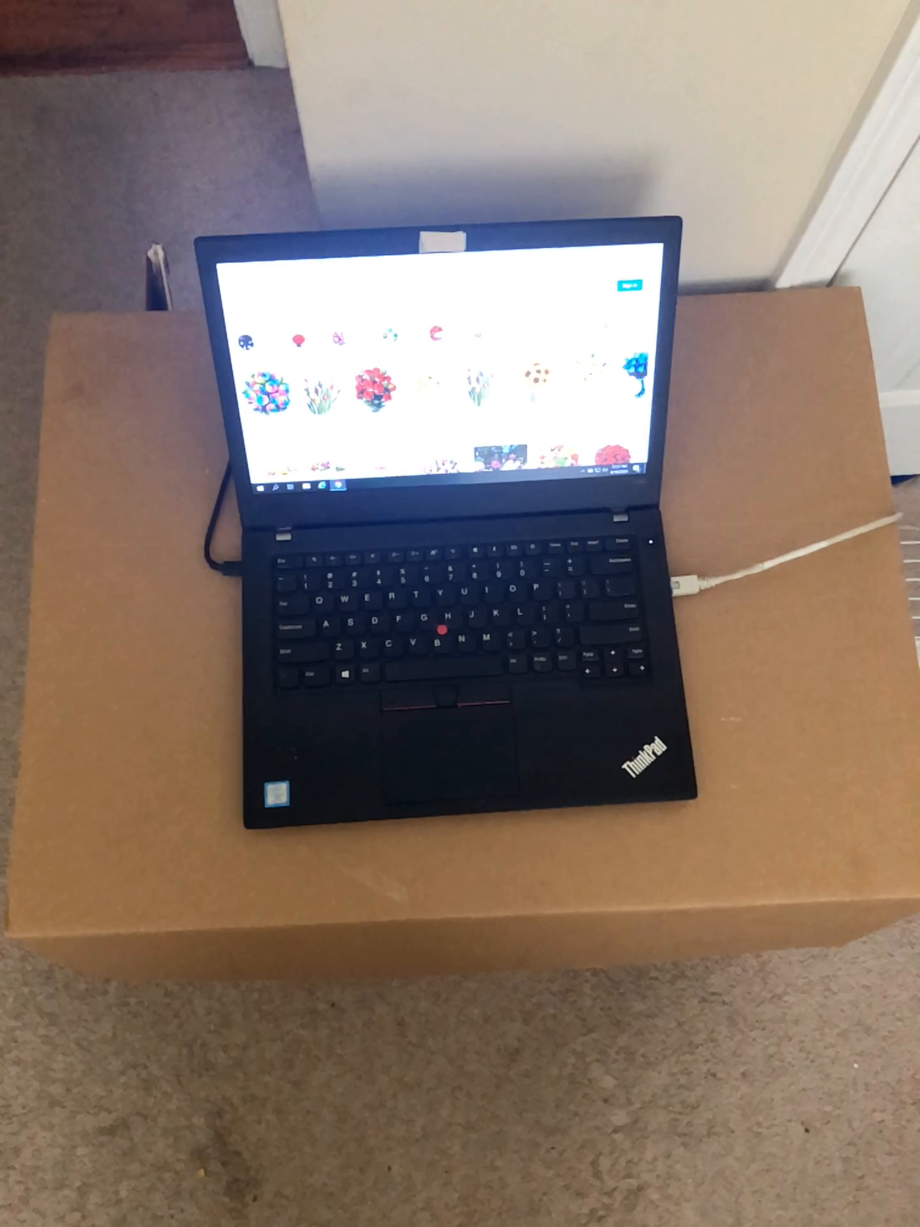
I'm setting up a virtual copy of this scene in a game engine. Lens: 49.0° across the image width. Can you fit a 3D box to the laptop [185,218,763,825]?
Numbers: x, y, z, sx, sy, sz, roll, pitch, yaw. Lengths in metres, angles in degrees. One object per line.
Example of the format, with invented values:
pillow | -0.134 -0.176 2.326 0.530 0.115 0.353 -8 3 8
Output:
laptop | -0.003 -0.057 0.689 0.322 0.159 0.365 -3 74 -2
